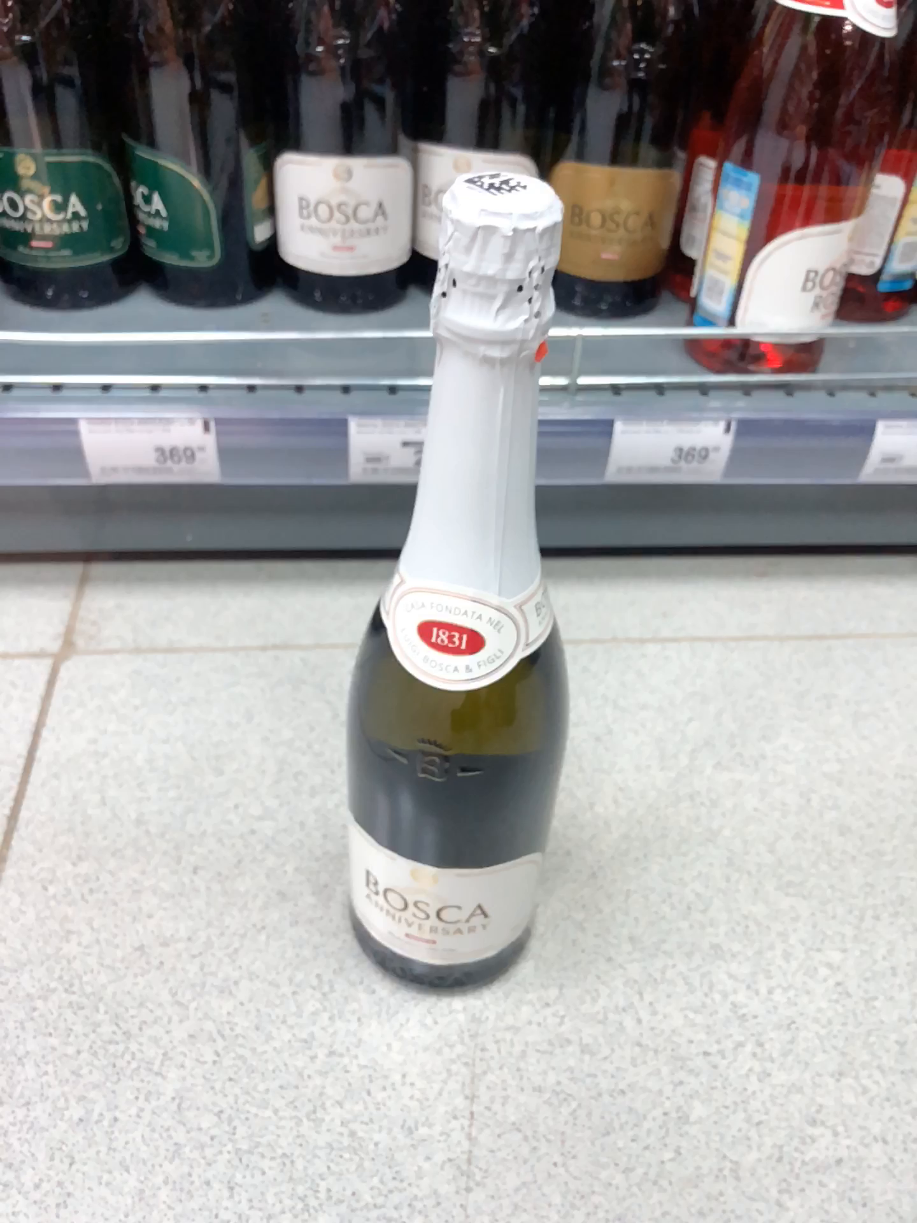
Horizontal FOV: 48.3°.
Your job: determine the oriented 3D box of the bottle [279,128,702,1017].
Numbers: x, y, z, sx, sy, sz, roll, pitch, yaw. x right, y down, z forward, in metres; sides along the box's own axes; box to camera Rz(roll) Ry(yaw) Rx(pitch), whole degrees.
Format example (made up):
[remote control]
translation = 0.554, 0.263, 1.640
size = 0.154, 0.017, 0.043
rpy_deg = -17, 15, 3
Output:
[bottle]
translation = 0.004, 0.012, 0.361
size = 0.090, 0.308, 0.090
rpy_deg = 3, 40, -2
